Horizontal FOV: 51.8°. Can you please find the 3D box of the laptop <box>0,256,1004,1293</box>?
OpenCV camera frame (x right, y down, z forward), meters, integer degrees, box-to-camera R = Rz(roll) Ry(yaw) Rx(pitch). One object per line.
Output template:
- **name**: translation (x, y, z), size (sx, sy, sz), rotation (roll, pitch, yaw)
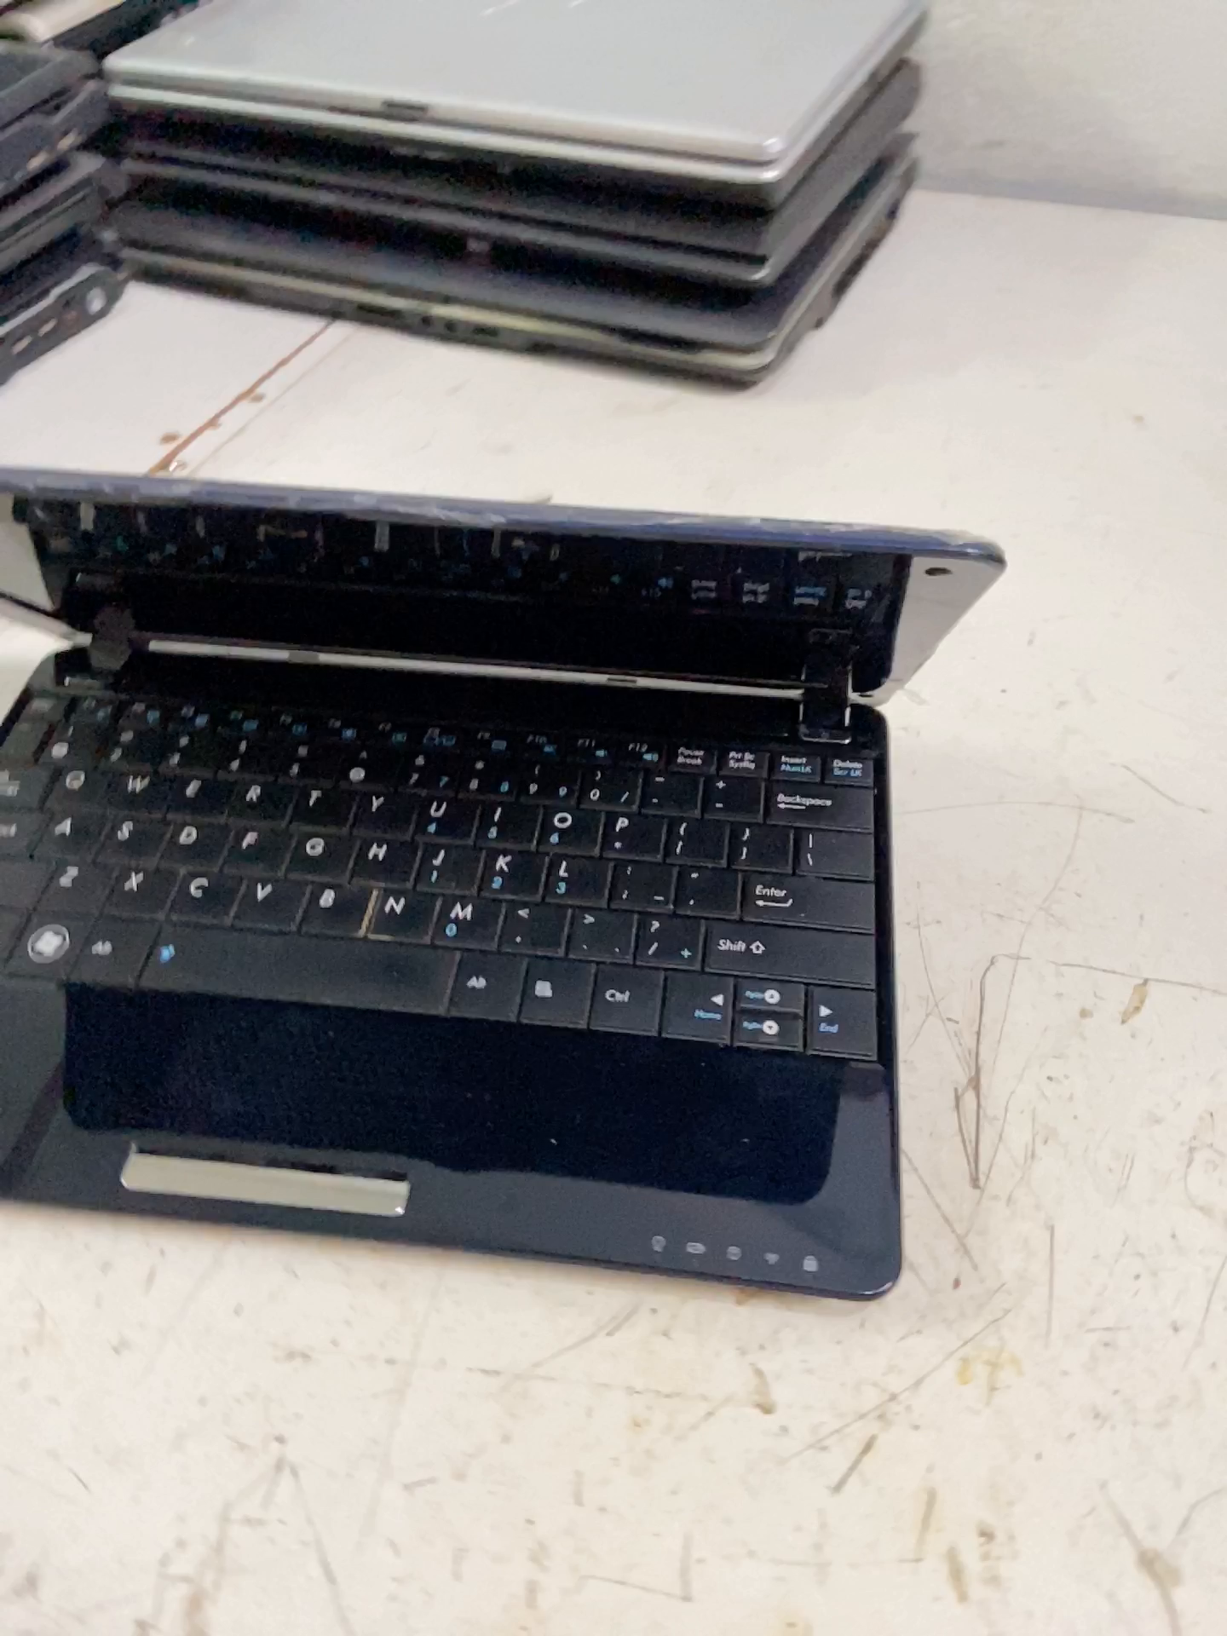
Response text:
- **laptop**: translation (-0.061, -0.019, 0.288), size (0.258, 0.121, 0.170), rotation (5, 49, 5)
